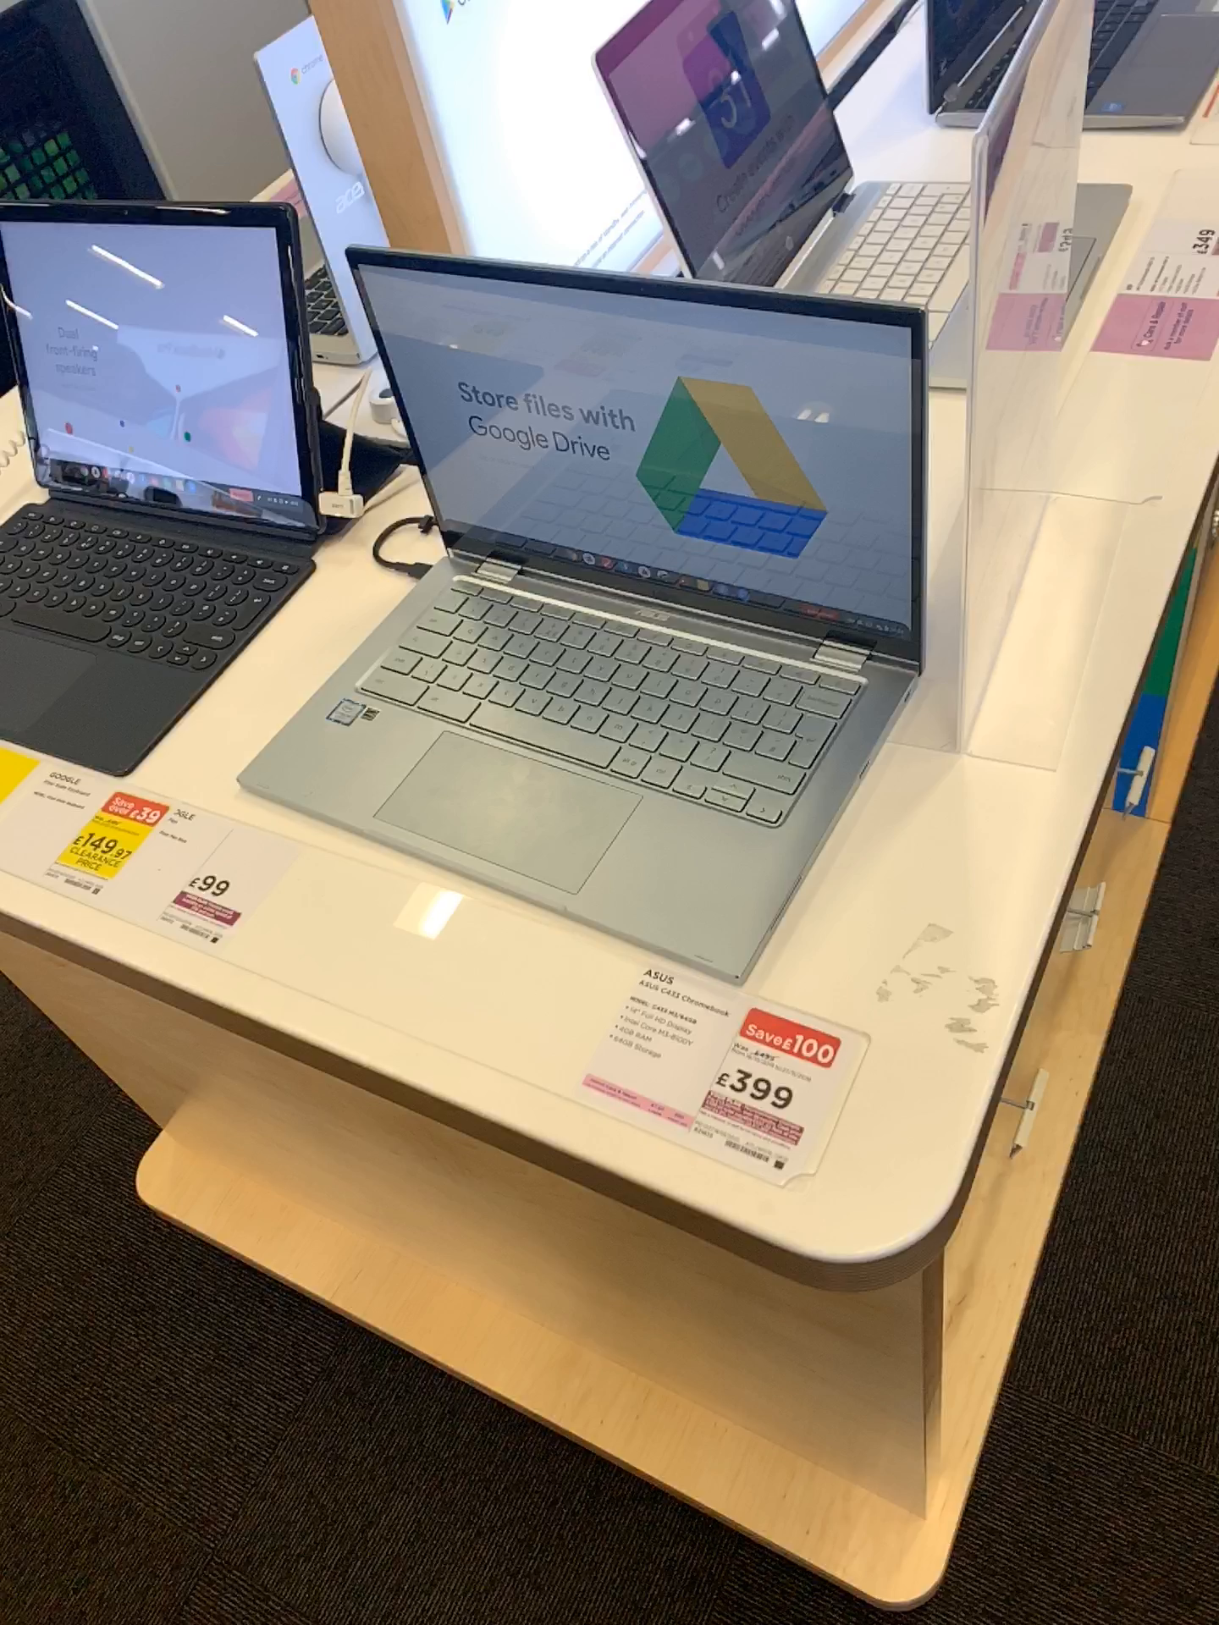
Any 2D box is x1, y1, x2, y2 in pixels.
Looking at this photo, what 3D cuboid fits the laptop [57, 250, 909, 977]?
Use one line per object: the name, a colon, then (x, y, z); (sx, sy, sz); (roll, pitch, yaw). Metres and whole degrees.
laptop: (-0.046, -0.111, 0.603); (0.318, 0.195, 0.204); (19, 58, 28)
